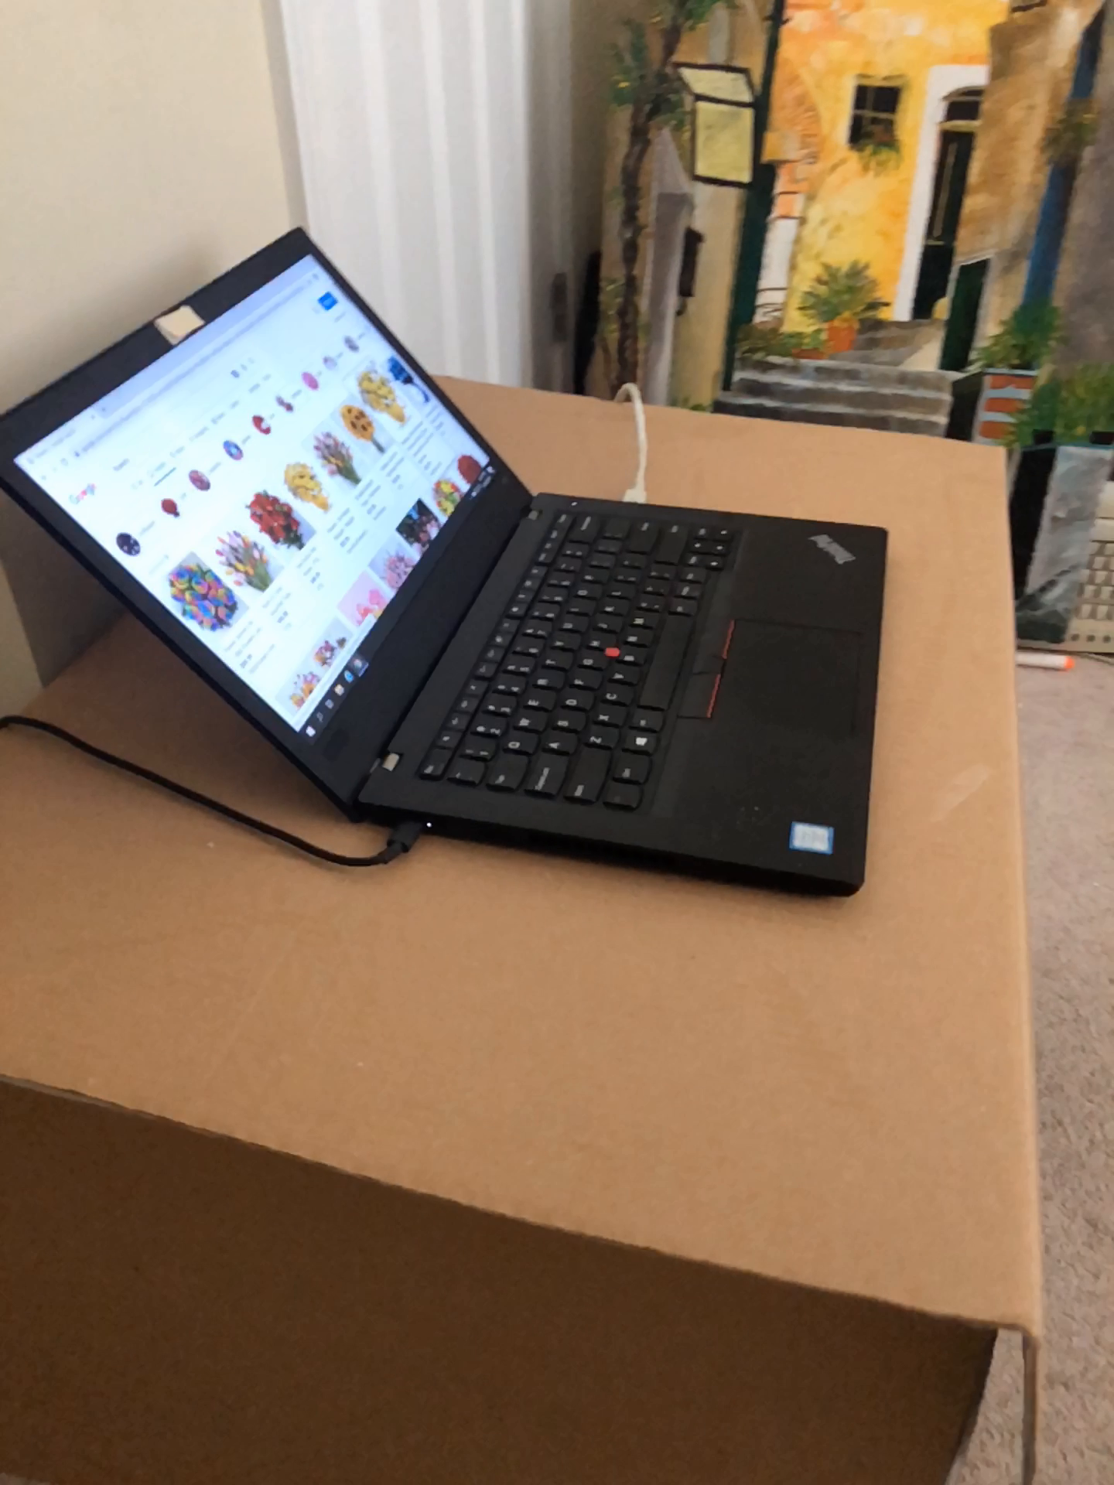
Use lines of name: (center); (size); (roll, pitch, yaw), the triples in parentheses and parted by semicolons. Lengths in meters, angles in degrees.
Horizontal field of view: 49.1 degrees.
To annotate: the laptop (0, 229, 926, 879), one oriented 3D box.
laptop: (-0.015, -0.125, 0.611); (0.364, 0.158, 0.324); (8, 37, 11)
